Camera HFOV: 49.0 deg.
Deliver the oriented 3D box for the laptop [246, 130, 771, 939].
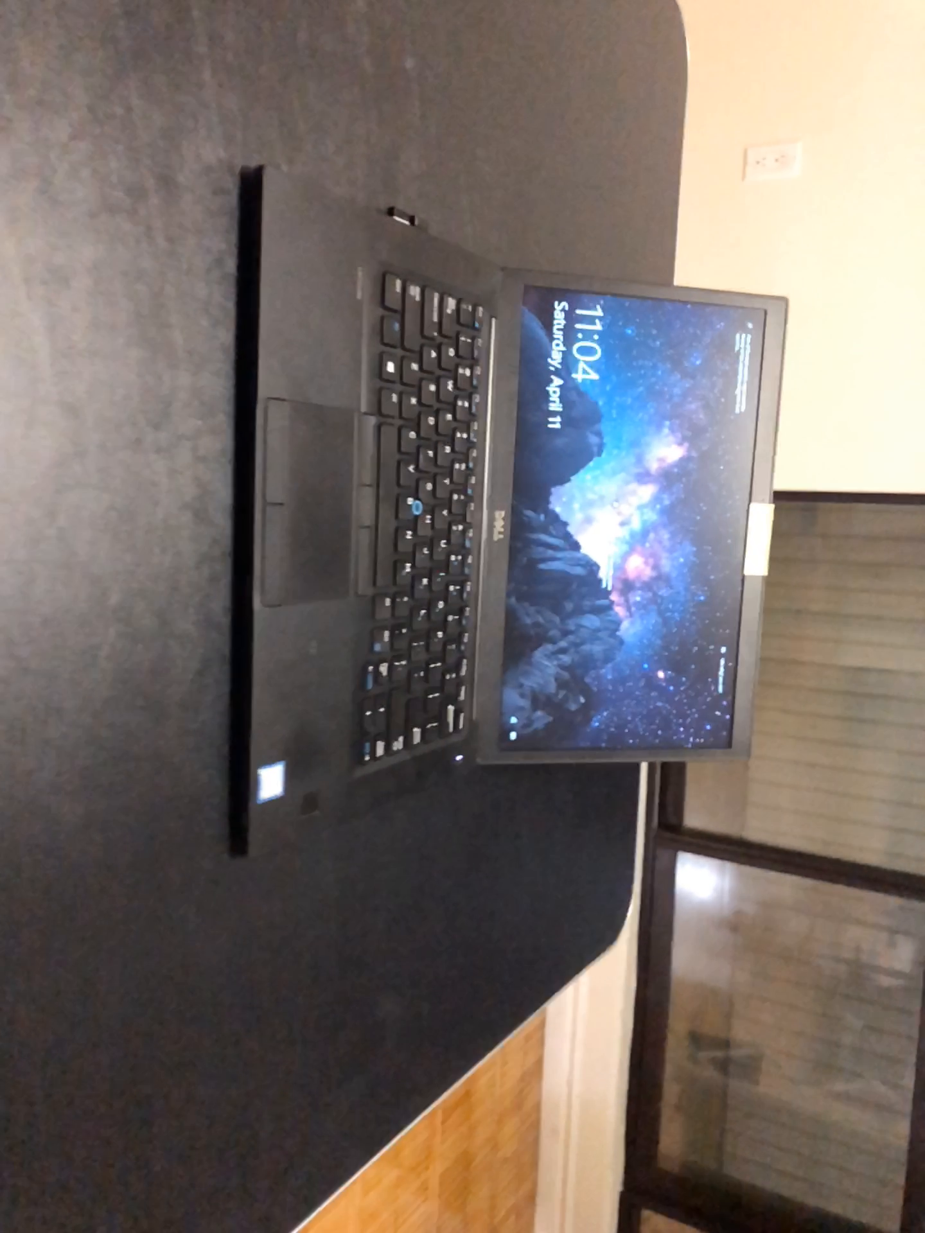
[{"bbox_3d":[0.055,-0.045,0.596,0.369,0.140,0.319,-9,103,-60],"label":"laptop"}]
